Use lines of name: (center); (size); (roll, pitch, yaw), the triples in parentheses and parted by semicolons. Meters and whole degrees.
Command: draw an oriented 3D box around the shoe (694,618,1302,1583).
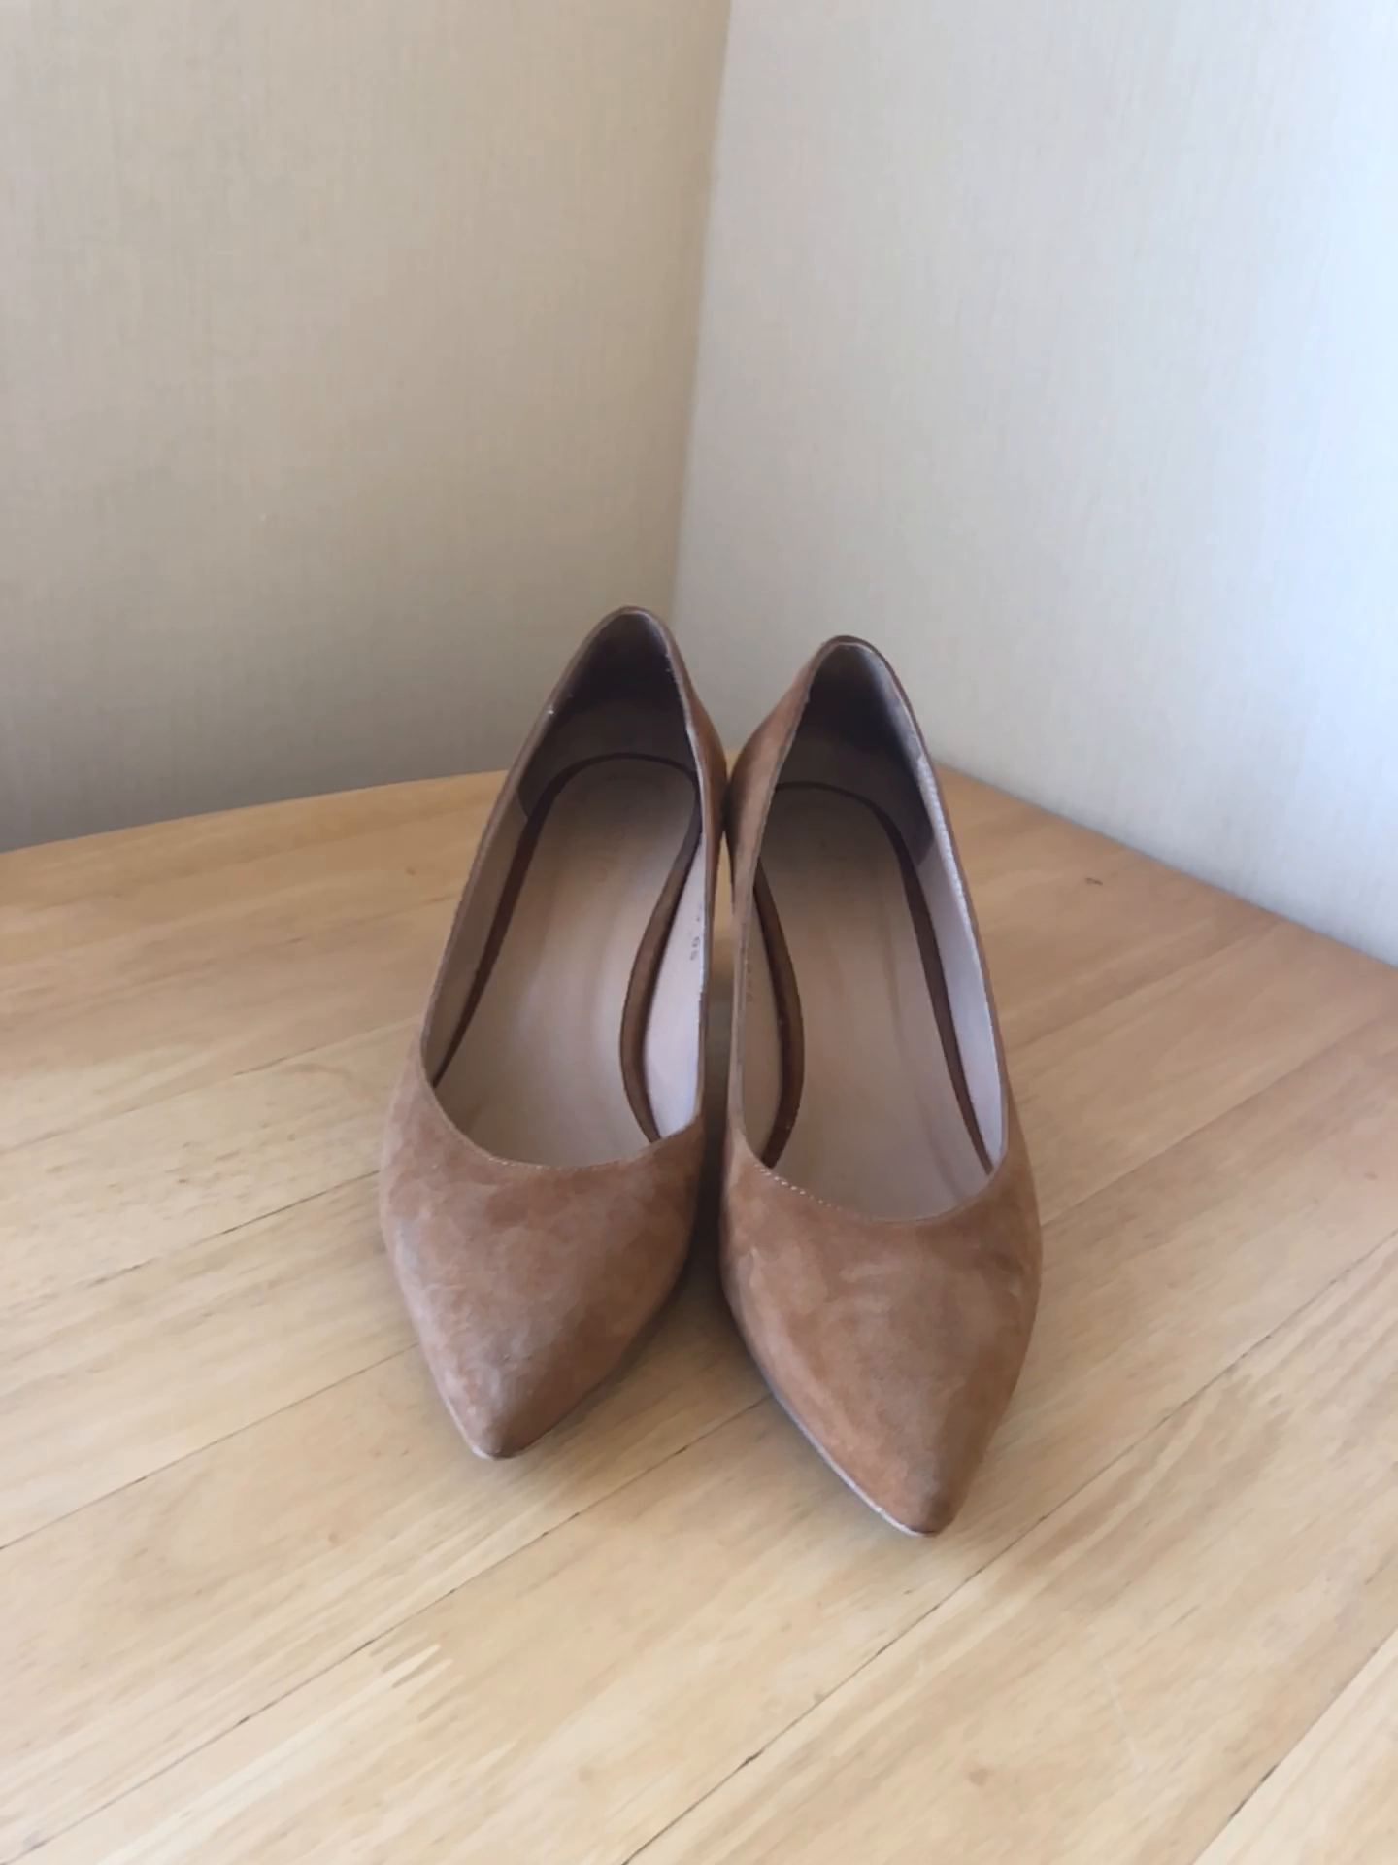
shoe: (0.049, 0.015, 0.395); (0.089, 0.110, 0.261); (4, 28, -3)

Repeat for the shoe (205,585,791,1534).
shoe: (-0.032, 0.005, 0.389); (0.089, 0.110, 0.251); (7, 28, 2)
